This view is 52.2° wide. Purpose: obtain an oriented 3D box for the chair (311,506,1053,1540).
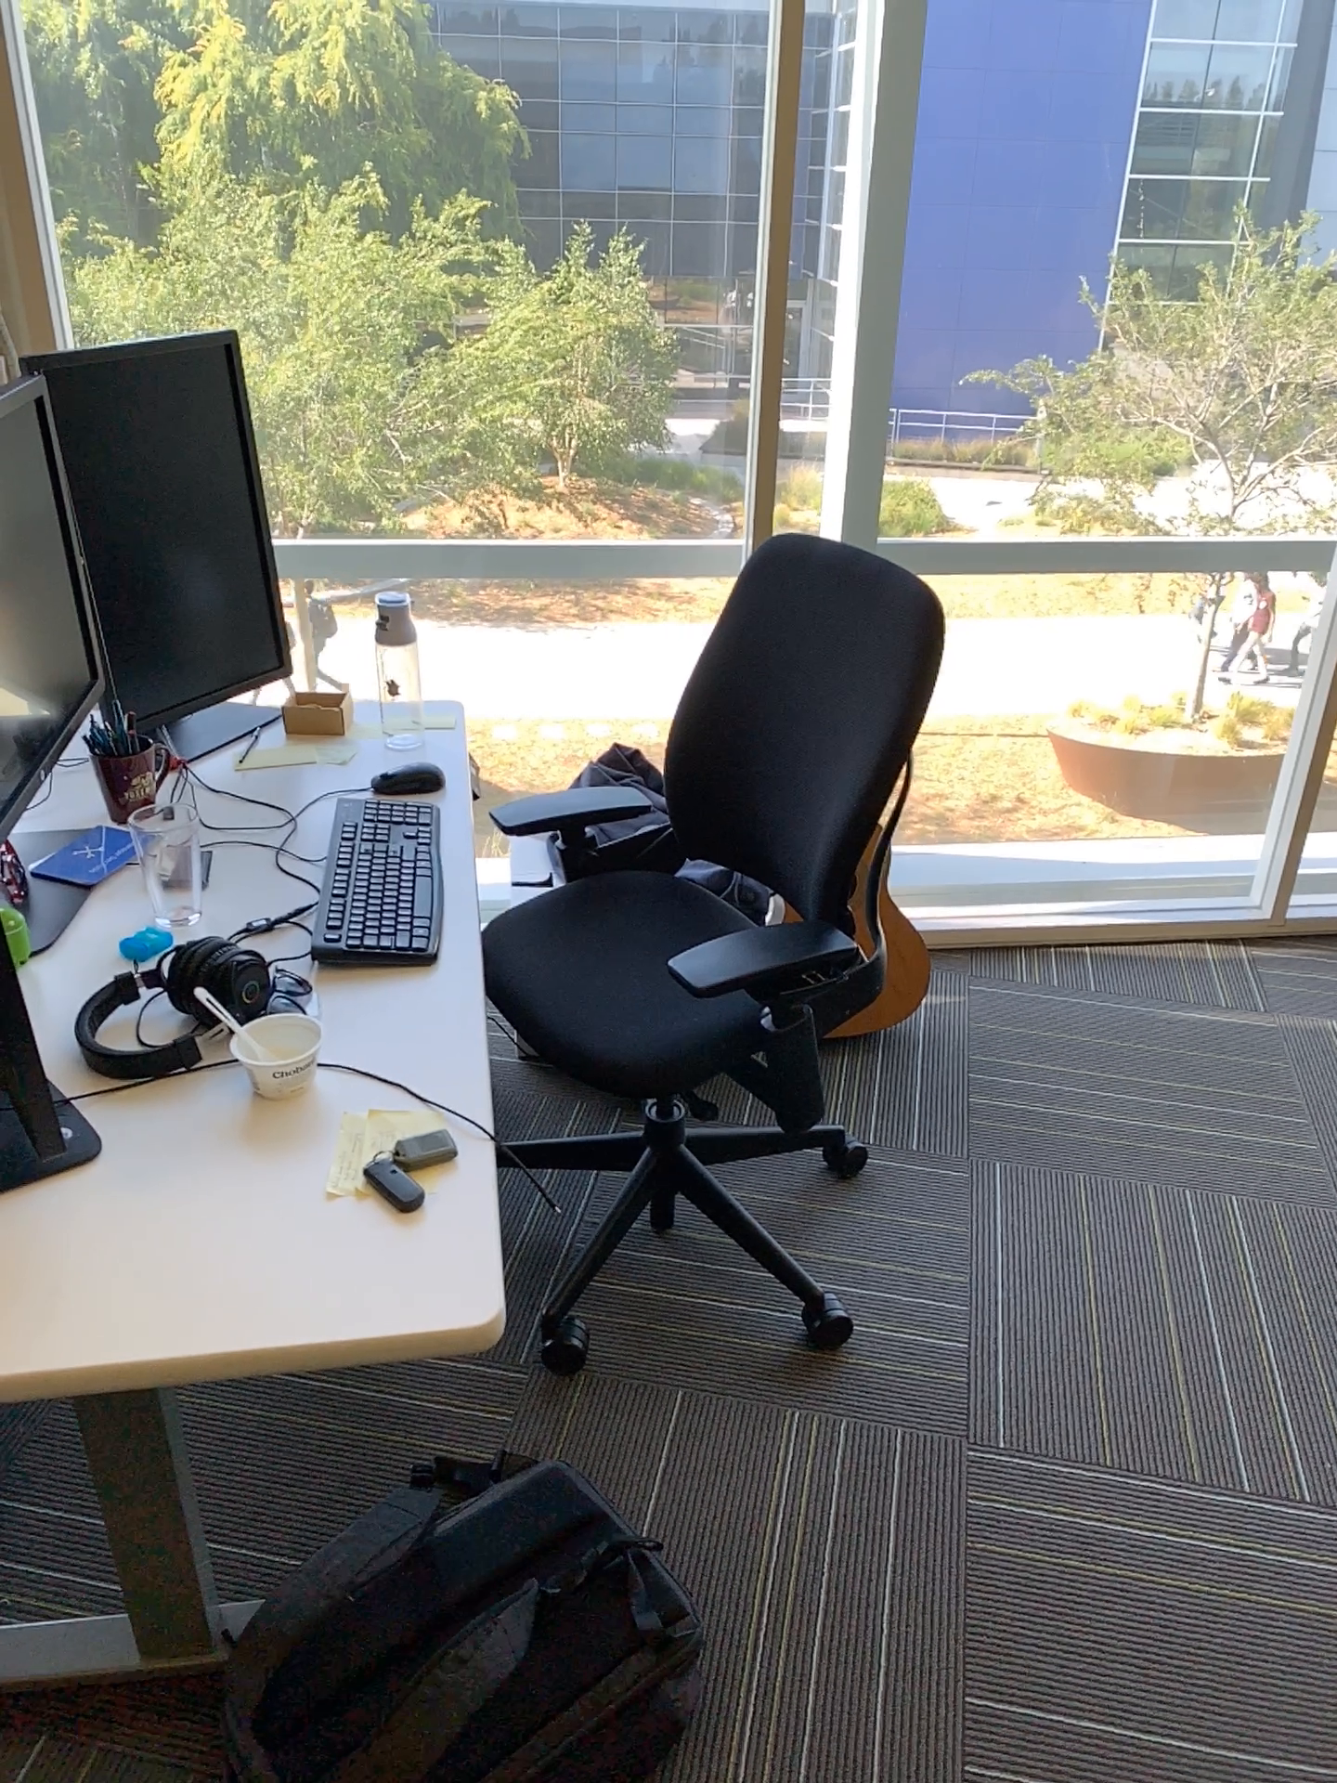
[{"bbox_3d":[-0.014,0.141,2.077,0.691,1.223,0.713,-18,33,-32],"label":"chair"}]
